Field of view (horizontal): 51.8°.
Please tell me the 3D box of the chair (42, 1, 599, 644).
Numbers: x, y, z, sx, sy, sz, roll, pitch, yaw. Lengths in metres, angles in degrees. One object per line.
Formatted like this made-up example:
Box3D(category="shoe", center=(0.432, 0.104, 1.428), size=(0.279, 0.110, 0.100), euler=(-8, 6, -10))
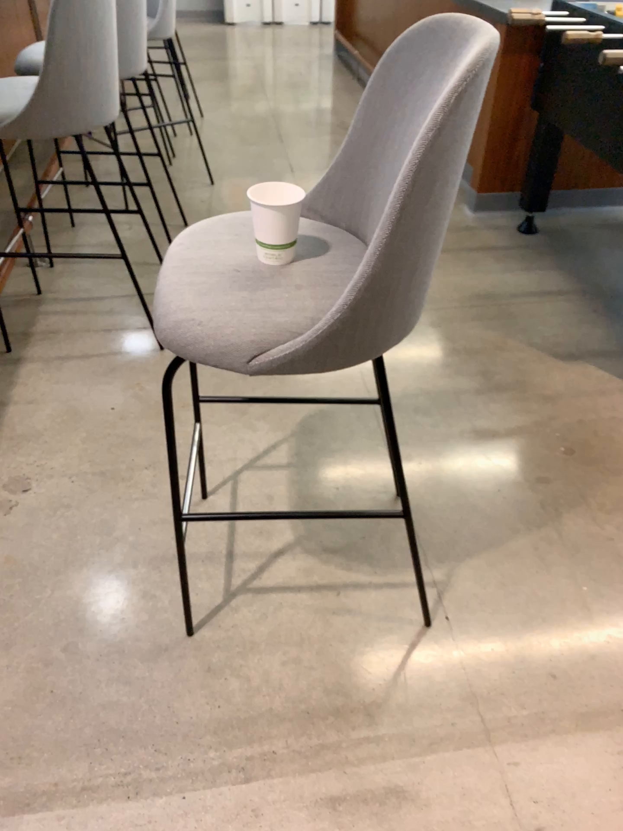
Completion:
Box3D(category="chair", center=(-0.002, -0.099, 1.169), size=(0.570, 1.054, 0.473), euler=(-1, 39, -2))
